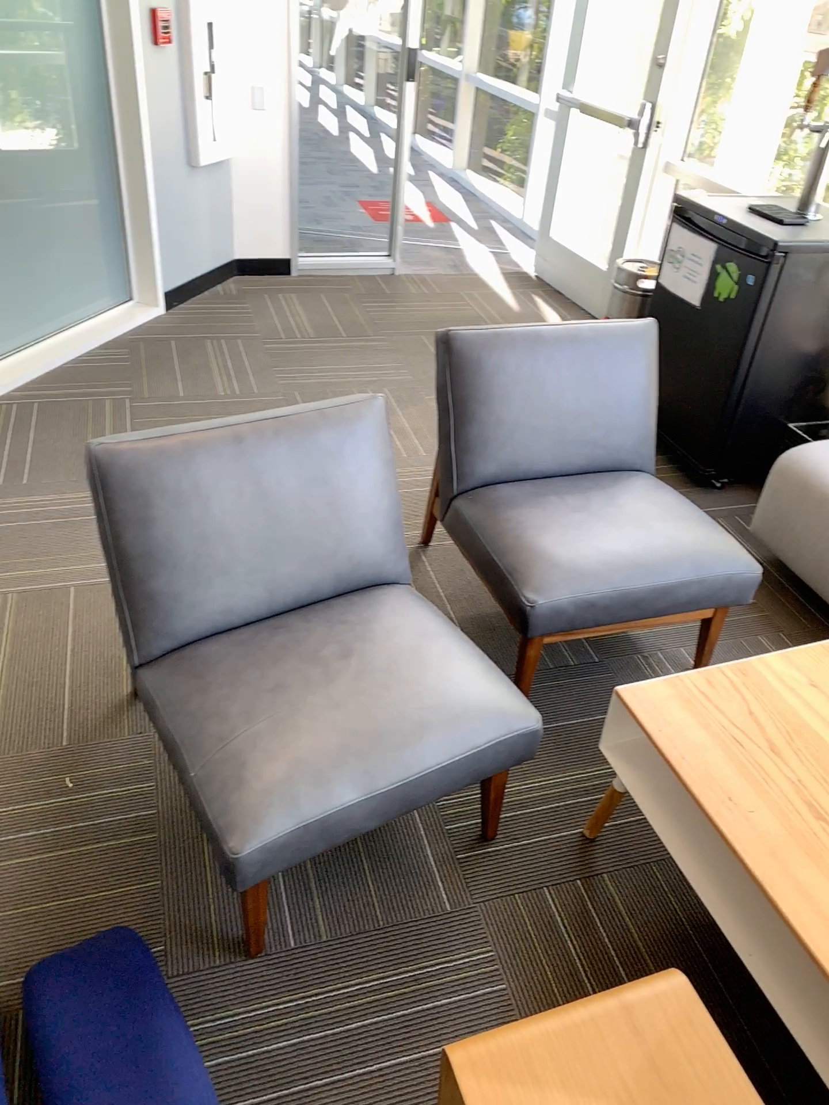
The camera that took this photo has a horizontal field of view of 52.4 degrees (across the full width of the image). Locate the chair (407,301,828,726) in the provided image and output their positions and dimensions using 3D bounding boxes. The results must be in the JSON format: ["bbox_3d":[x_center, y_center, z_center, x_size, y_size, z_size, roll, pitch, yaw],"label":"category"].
[{"bbox_3d":[0.500,-0.165,2.363,0.740,0.766,0.855,-8,37,-19],"label":"chair"}]

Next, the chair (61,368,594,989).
[{"bbox_3d":[-0.234,0.183,1.778,0.681,0.766,0.854,-15,40,-27],"label":"chair"}]
